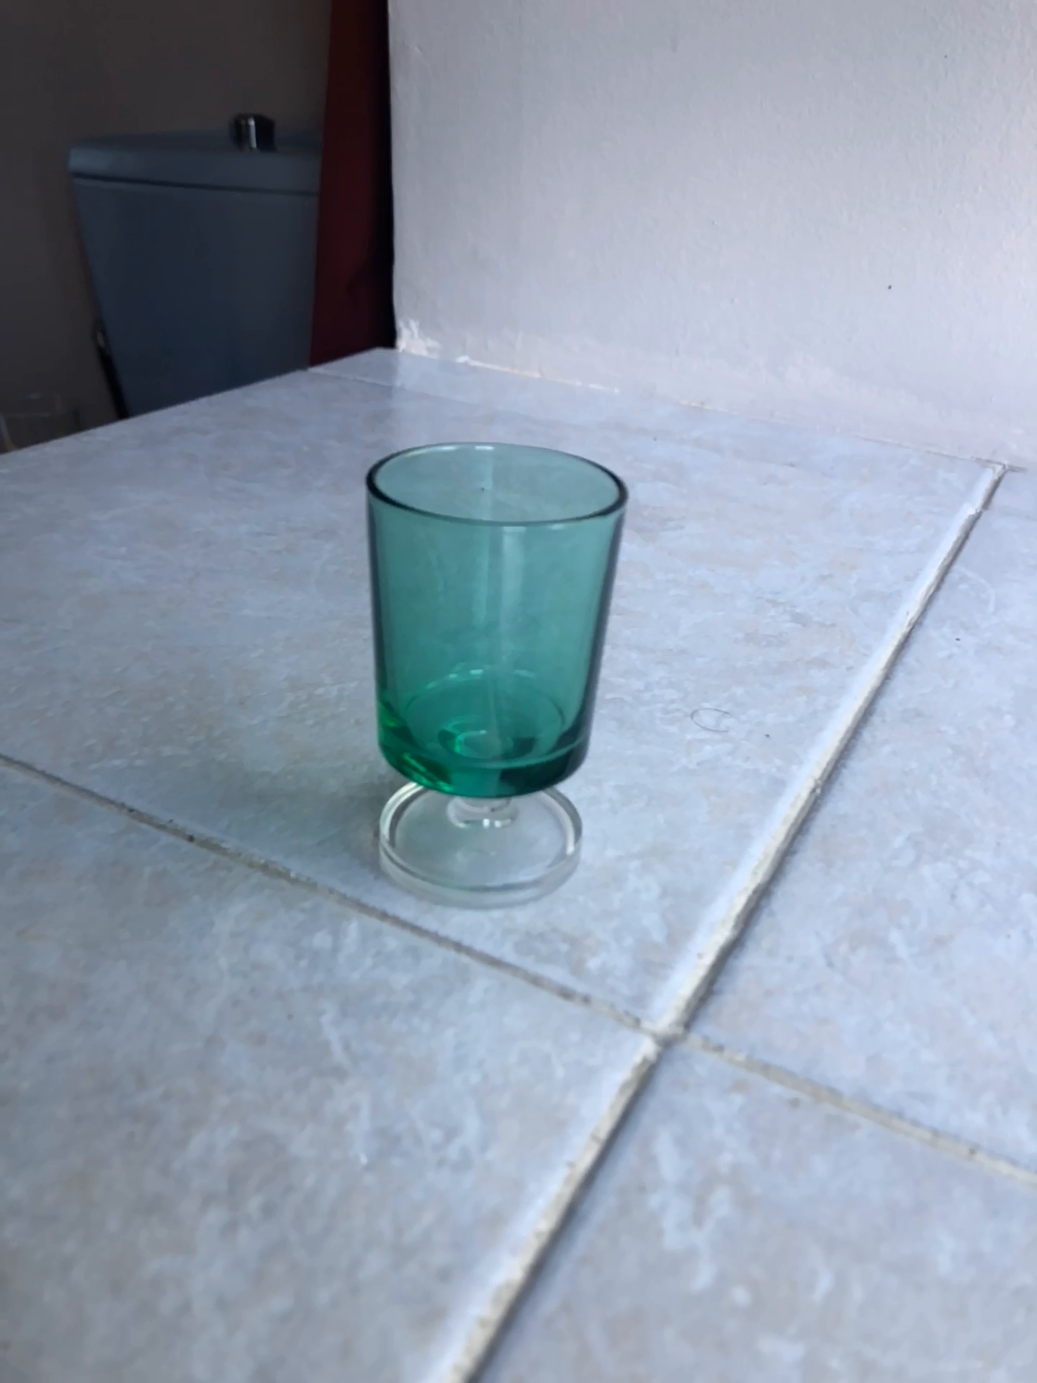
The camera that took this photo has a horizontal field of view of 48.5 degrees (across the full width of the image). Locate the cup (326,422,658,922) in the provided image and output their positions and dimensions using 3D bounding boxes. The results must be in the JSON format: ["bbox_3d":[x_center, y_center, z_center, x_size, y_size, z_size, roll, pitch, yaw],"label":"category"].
[{"bbox_3d":[-0.007,-0.005,0.192,0.044,0.068,0.045,1,27,-1],"label":"cup"}]
